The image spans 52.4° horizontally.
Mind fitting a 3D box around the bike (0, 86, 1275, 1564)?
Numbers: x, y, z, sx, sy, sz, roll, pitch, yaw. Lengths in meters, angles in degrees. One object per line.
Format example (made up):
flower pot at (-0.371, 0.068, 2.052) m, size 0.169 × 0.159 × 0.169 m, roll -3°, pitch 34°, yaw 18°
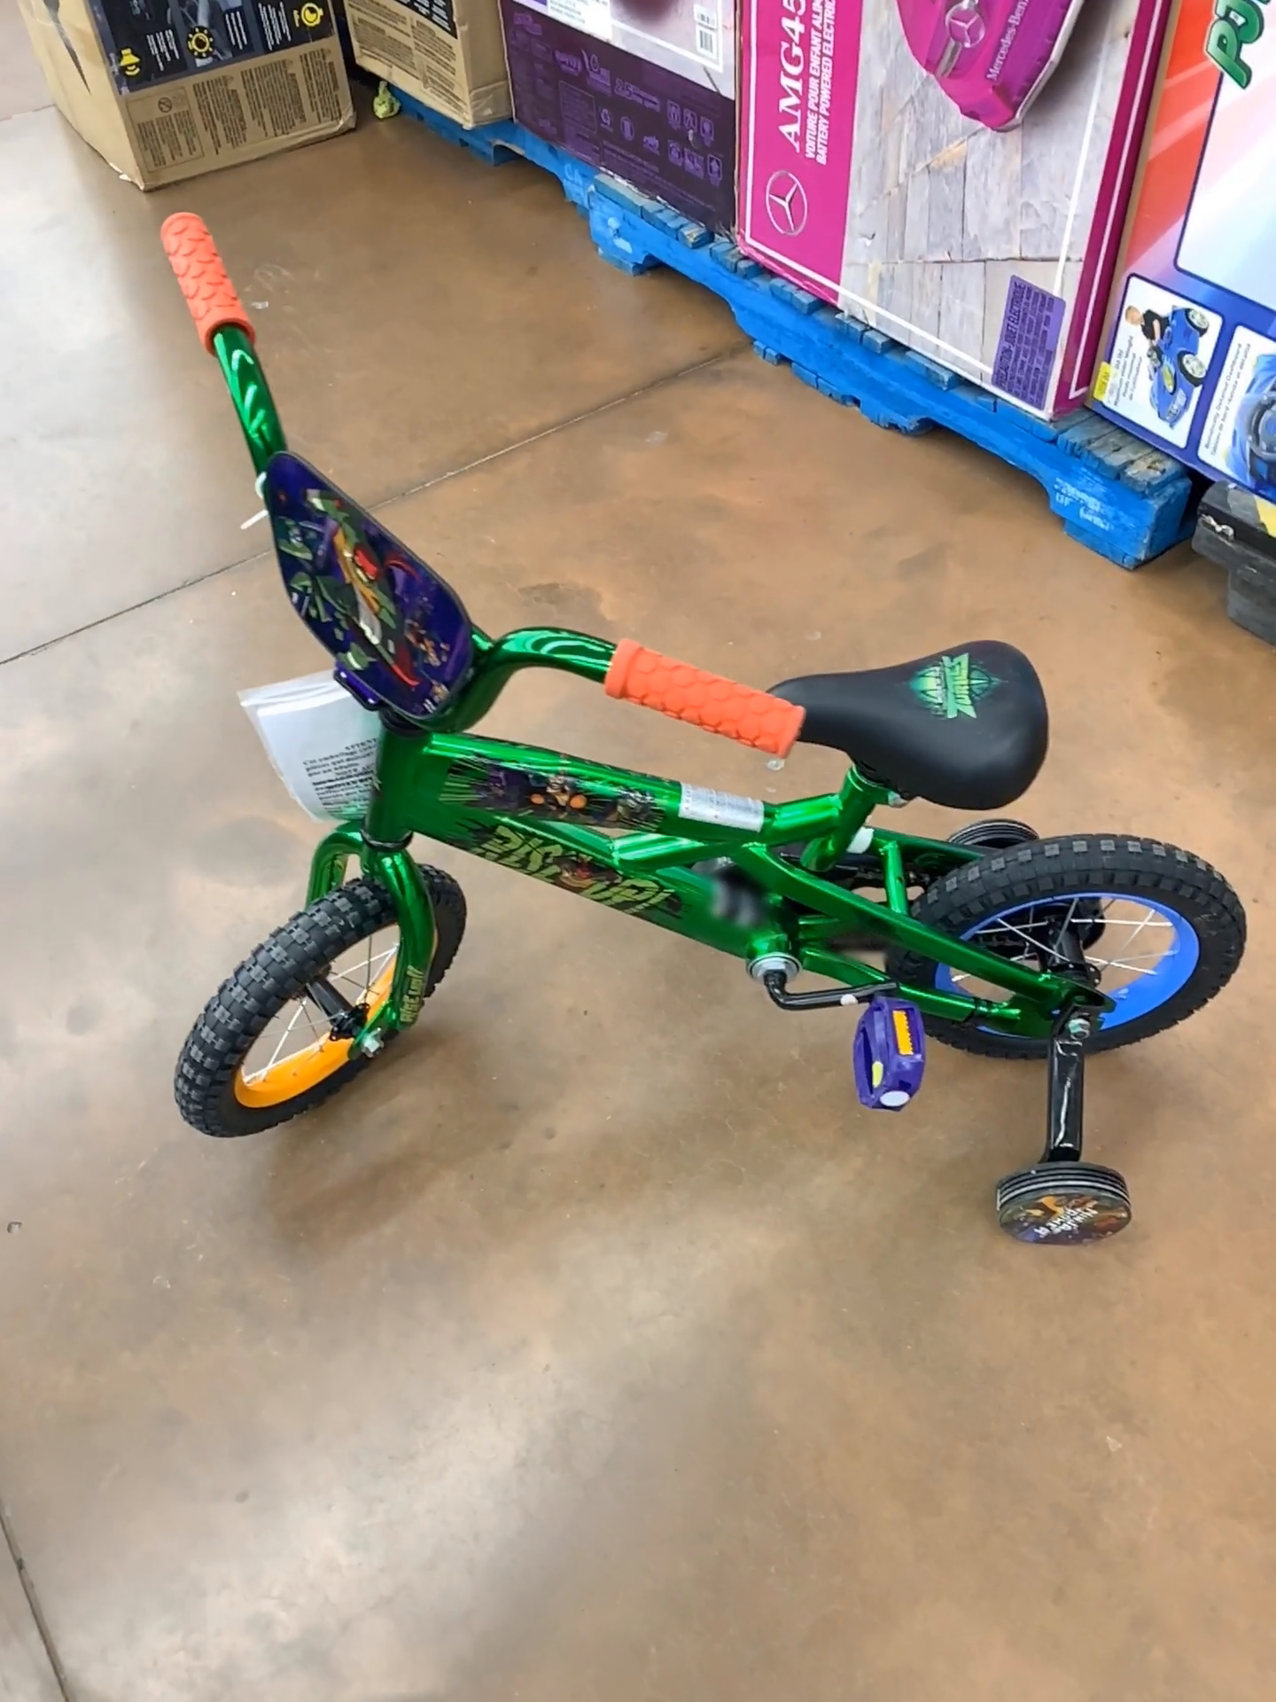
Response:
bike at (0.068, 0.008, 0.833) m, size 0.850 × 0.732 × 0.491 m, roll -7°, pitch 49°, yaw -7°
